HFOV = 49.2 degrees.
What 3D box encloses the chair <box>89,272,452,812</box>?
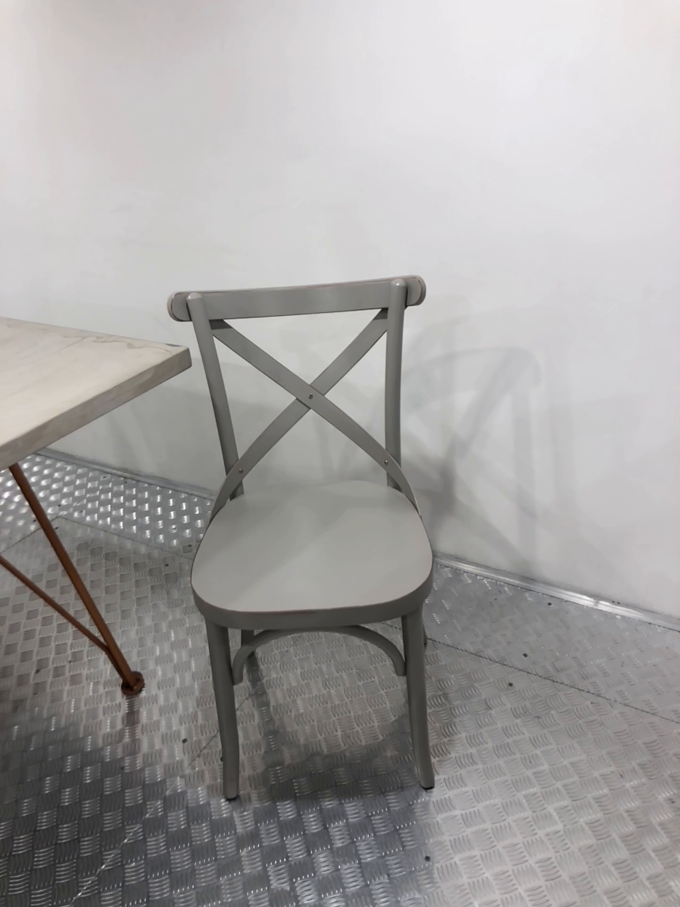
[{"bbox_3d":[-0.074,0.170,1.467,0.510,0.894,0.504,-4,28,1],"label":"chair"}]
